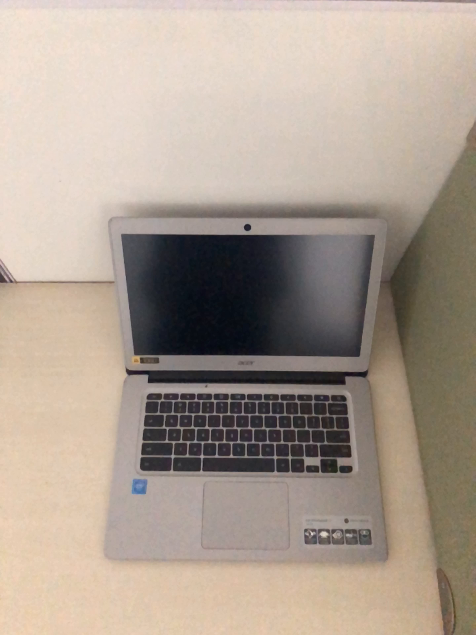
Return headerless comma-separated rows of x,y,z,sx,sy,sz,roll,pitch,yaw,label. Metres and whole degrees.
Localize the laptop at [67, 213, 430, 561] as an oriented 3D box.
0.010,0.081,0.621,0.322,0.168,0.367,0,64,0,laptop
